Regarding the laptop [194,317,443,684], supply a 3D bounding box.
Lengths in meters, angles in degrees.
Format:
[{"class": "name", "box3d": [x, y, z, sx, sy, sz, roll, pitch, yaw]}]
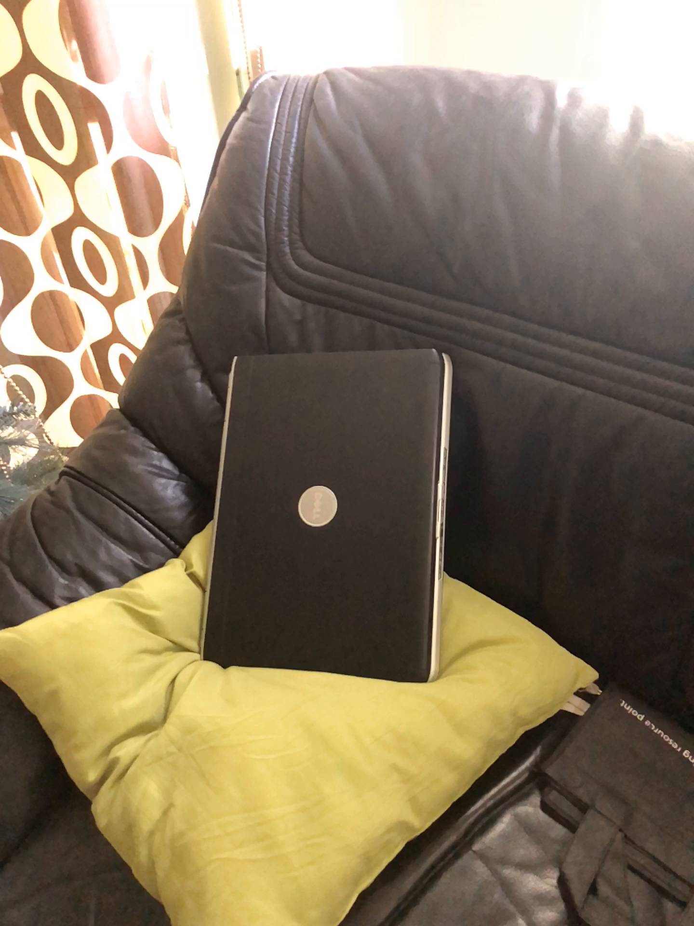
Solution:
[{"class": "laptop", "box3d": [-0.030, 0.031, 0.806, 0.247, 0.033, 0.345, 0, 77, 19]}]
